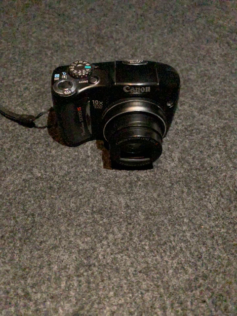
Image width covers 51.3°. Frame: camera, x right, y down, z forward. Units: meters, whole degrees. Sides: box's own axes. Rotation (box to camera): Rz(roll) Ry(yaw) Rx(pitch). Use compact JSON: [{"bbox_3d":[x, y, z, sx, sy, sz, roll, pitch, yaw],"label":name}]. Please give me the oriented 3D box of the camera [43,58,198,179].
[{"bbox_3d":[-0.001,-0.033,0.222,0.108,0.079,0.070,-2,55,-4],"label":"camera"}]
